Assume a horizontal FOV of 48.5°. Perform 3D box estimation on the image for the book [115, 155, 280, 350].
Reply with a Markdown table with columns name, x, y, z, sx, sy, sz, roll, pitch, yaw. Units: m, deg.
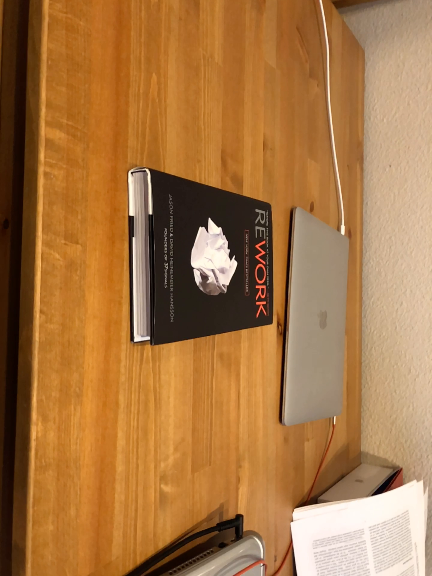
| name | x | y | z | sx | sy | sz | roll | pitch | yaw |
| --- | --- | --- | --- | --- | --- | --- | --- | --- | --- |
| book | -0.004 | -0.032 | 0.501 | 0.231 | 0.040 | 0.160 | -3 | 92 | -56 |
